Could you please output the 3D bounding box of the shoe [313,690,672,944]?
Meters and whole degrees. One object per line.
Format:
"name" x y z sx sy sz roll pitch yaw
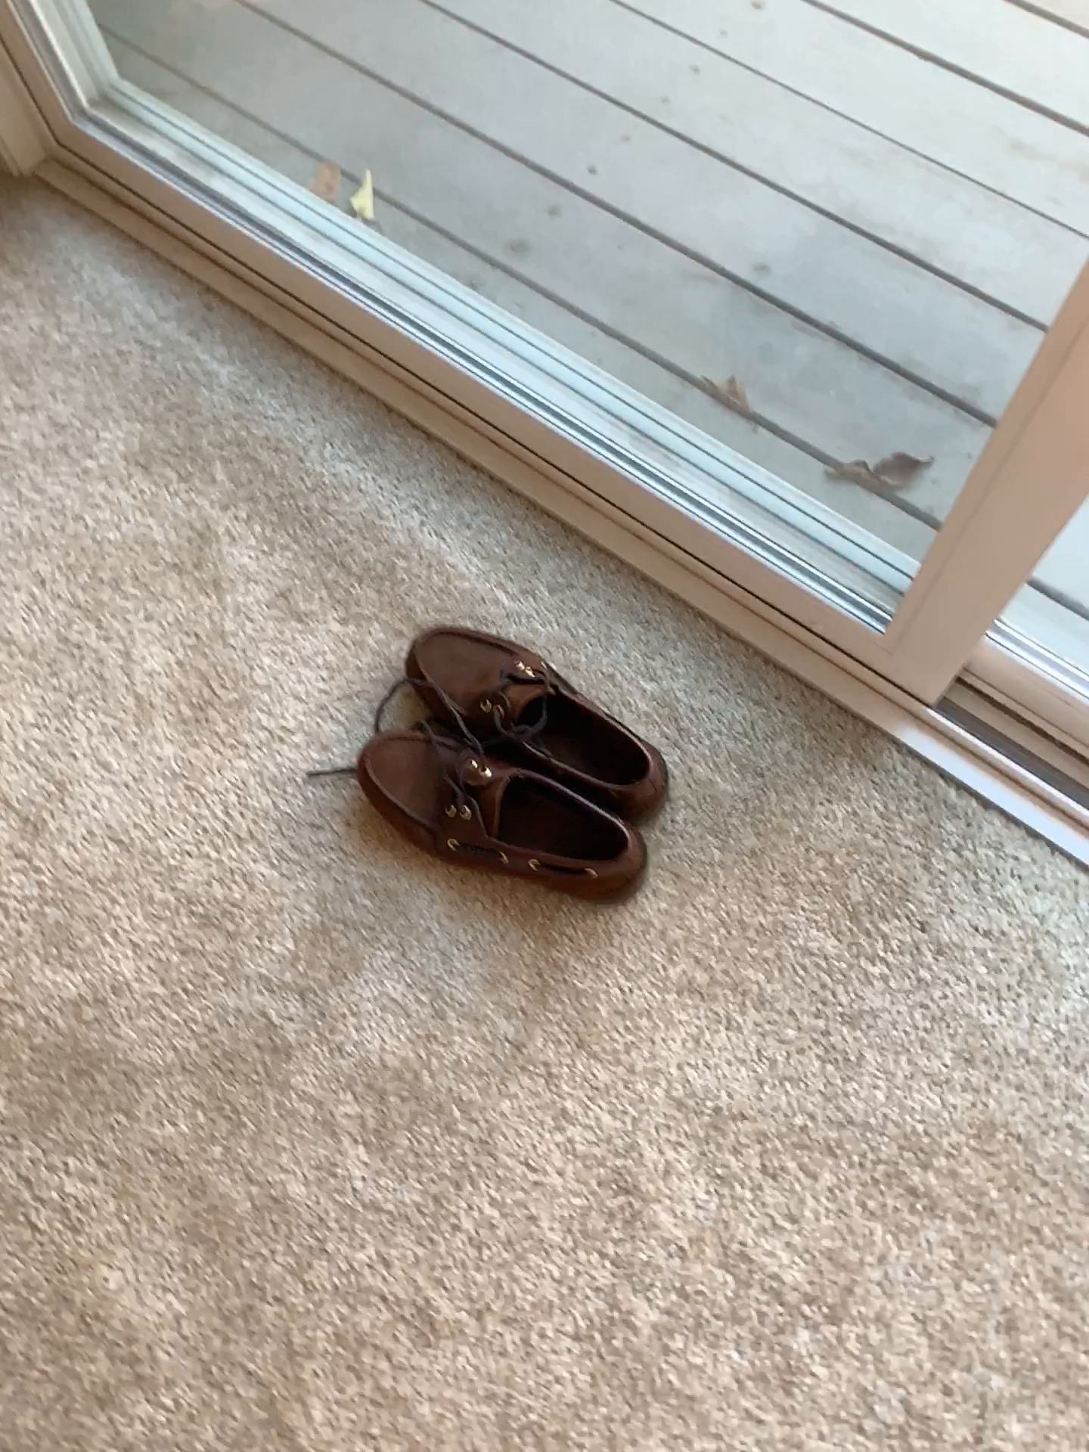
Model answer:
"shoe" -0.043 0.081 0.987 0.290 0.100 0.100 22 72 11

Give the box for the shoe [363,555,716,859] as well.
"shoe" -0.005 -0.018 1.016 0.300 0.100 0.110 33 75 14
